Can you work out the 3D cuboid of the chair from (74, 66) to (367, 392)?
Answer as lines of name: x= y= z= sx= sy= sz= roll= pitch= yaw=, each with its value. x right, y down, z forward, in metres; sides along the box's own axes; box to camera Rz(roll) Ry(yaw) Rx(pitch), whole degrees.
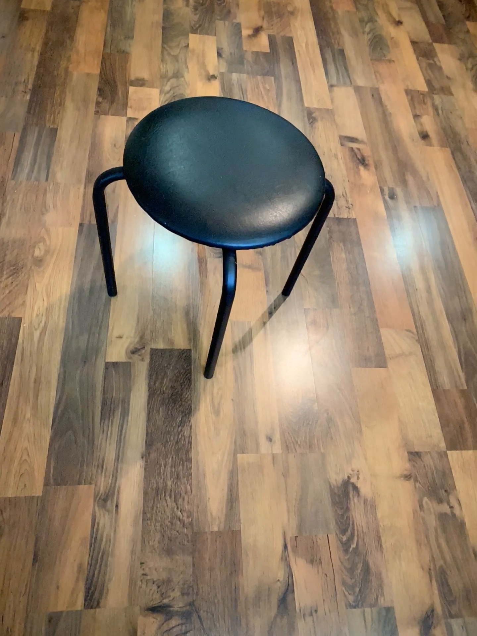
chair: x=-0.046 y=-0.156 z=0.981 sx=0.351 sy=0.427 sz=0.332 roll=38 pitch=62 yaw=13
